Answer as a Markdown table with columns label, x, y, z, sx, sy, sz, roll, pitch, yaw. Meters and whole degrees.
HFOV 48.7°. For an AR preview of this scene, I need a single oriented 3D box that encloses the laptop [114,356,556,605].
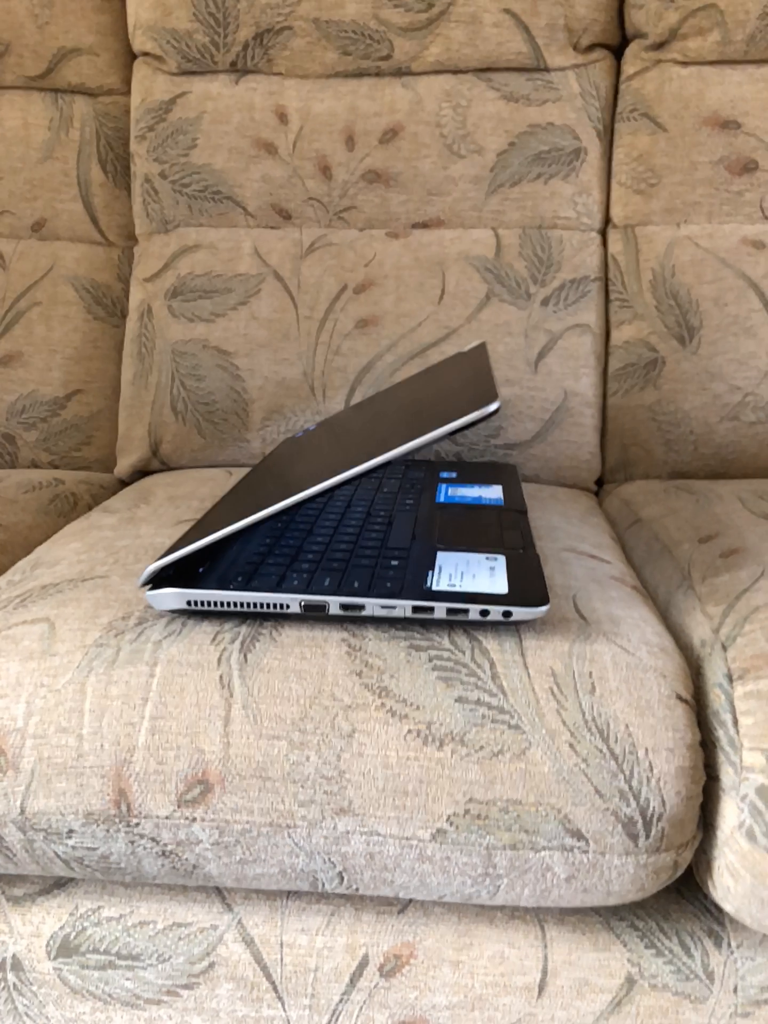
| label | x | y | z | sx | sy | sz | roll | pitch | yaw |
| --- | --- | --- | --- | --- | --- | --- | --- | --- | --- |
| laptop | -0.009 | -0.052 | 0.697 | 0.253 | 0.113 | 0.398 | 1 | 17 | 5 |
